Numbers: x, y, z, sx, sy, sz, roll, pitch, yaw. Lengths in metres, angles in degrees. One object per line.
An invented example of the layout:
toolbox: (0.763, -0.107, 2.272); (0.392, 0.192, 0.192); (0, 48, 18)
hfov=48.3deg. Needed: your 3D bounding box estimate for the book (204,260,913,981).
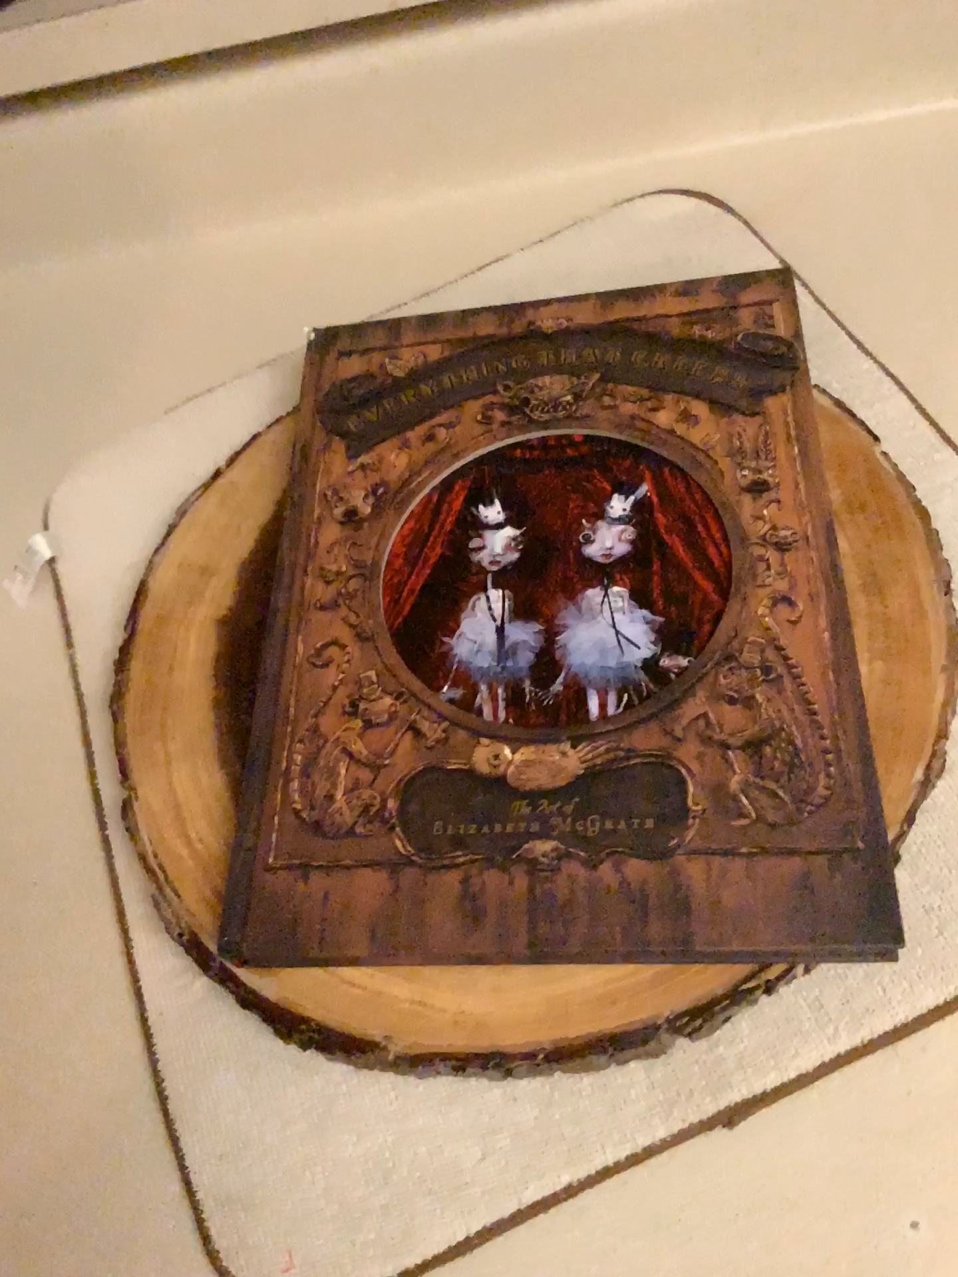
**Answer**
book: (0.025, -0.024, 0.432); (0.230, 0.020, 0.310); (-4, 59, 10)
